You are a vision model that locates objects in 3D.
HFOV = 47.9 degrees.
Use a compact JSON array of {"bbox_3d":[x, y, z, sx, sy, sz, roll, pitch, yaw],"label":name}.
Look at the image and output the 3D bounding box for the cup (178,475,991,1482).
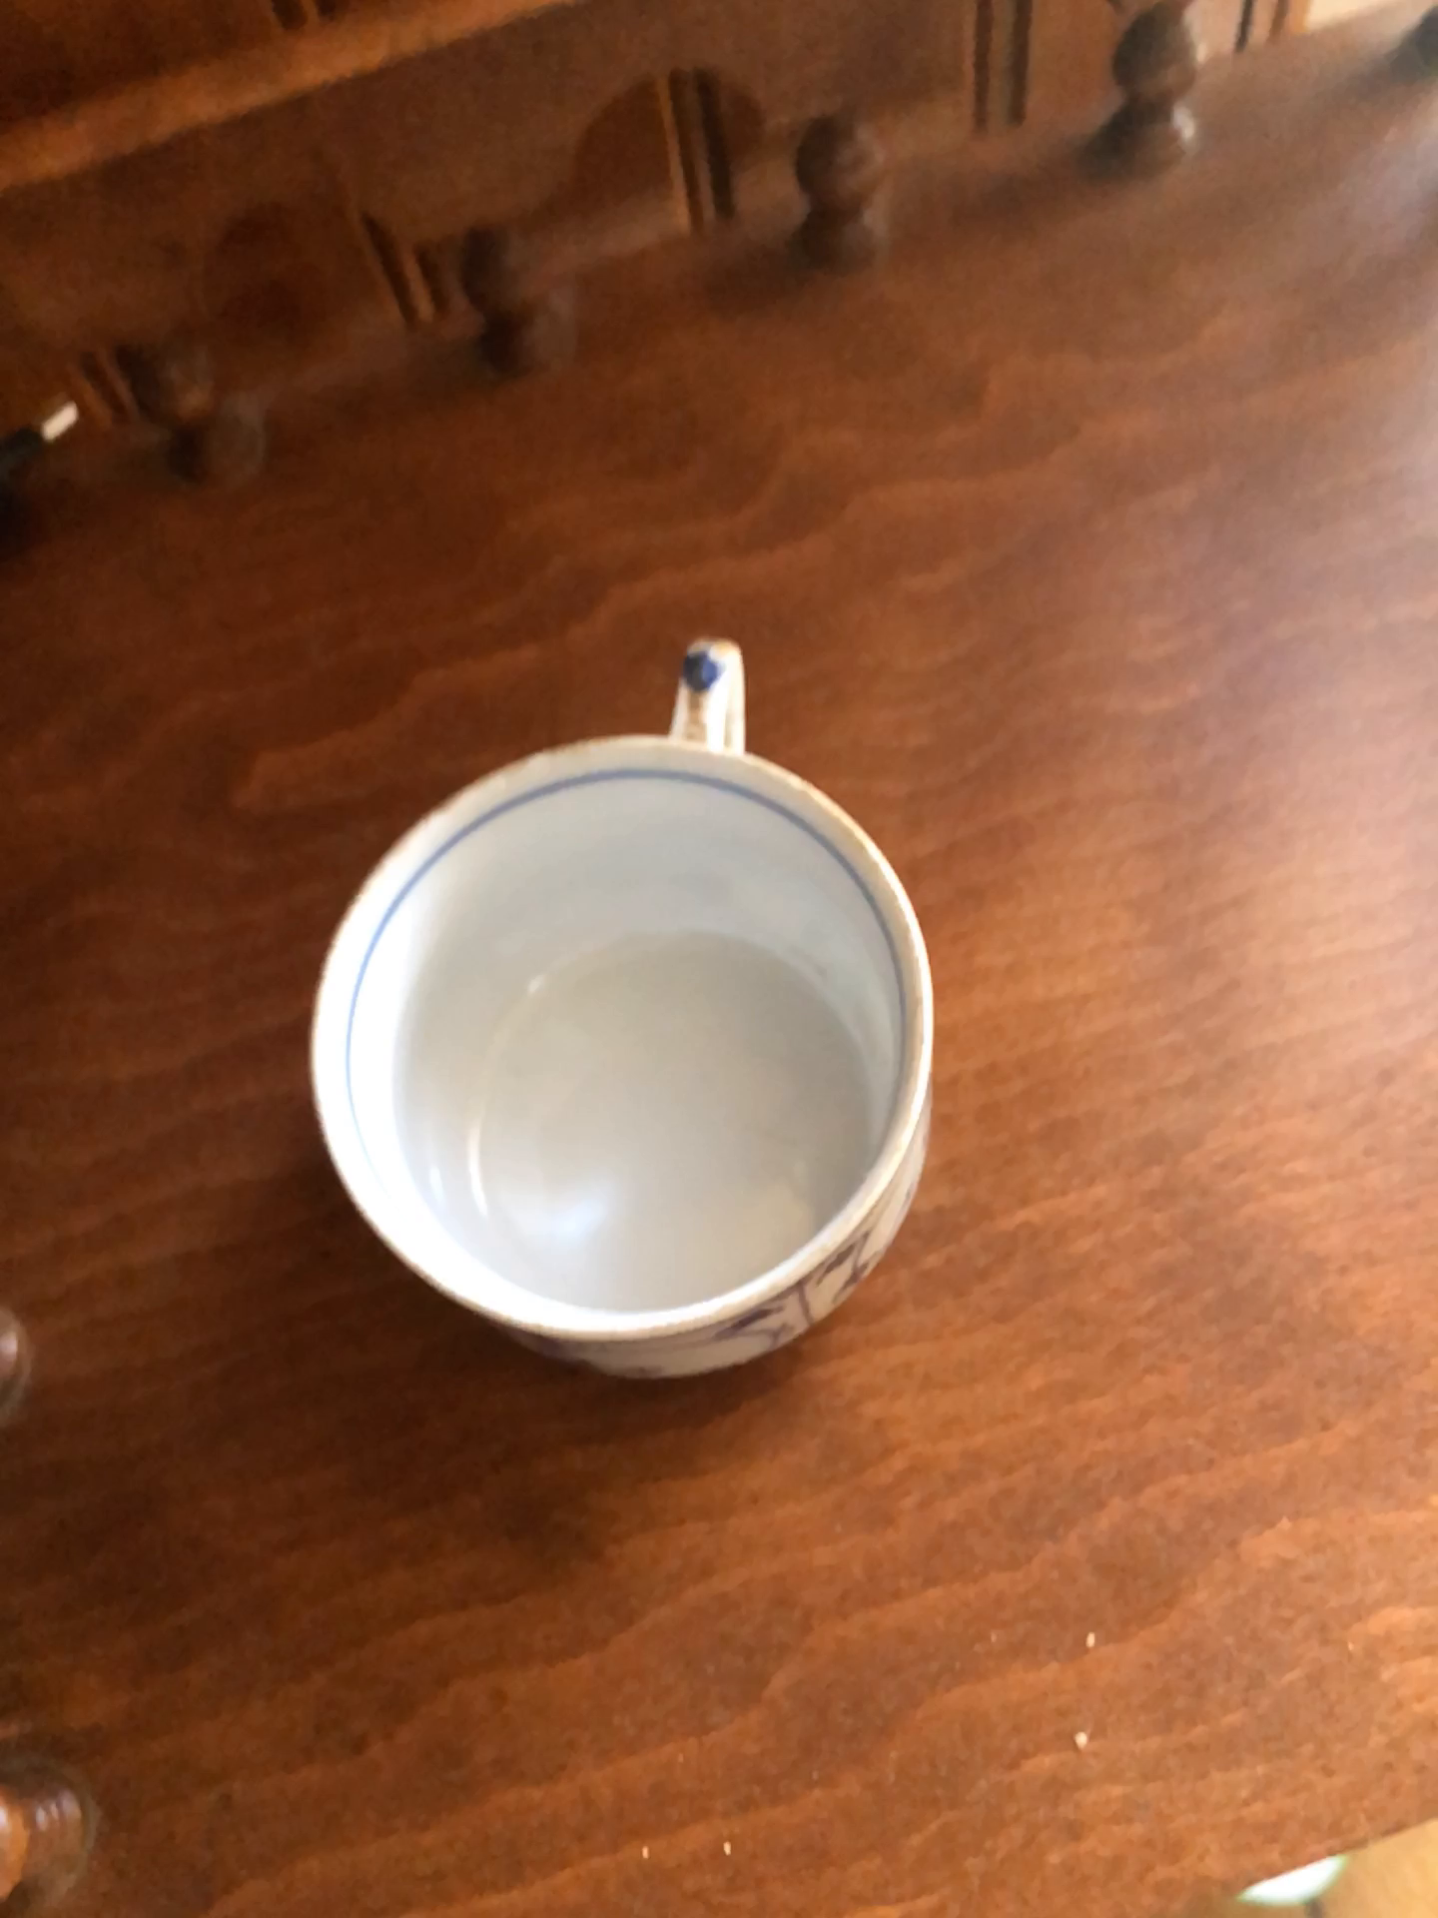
[{"bbox_3d":[-0.009,0.002,0.228,0.080,0.060,0.120,6,68,10],"label":"cup"}]
